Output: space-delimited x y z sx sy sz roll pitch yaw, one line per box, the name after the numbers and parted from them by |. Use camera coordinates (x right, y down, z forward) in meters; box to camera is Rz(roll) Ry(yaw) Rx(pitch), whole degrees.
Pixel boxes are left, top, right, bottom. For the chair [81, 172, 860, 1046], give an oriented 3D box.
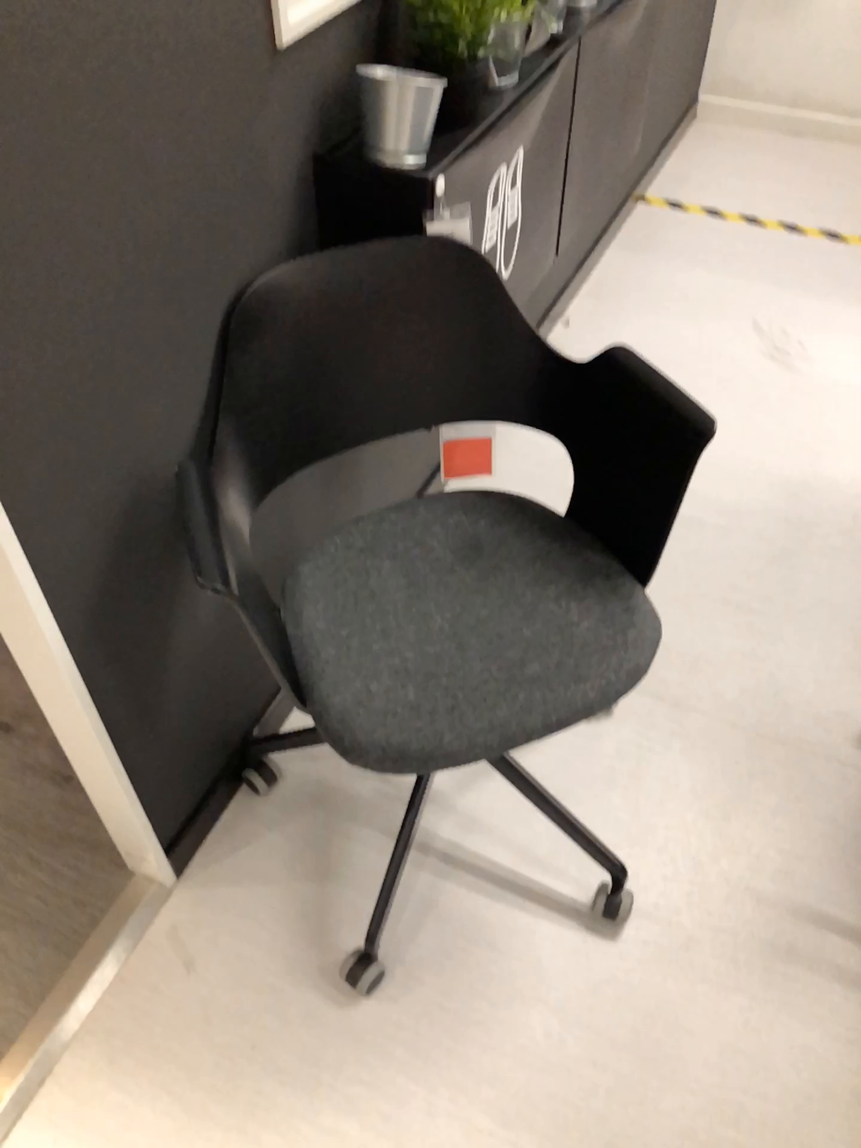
0.042 0.057 1.140 0.660 0.755 0.563 -14 49 -11 | chair
